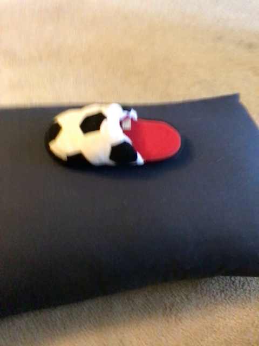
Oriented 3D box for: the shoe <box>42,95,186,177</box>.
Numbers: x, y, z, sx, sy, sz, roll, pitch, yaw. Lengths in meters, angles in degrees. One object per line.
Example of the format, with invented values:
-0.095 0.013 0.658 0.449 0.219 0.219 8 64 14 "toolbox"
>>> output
-0.025 -0.061 0.478 0.213 0.072 0.108 2 55 -5 "shoe"
